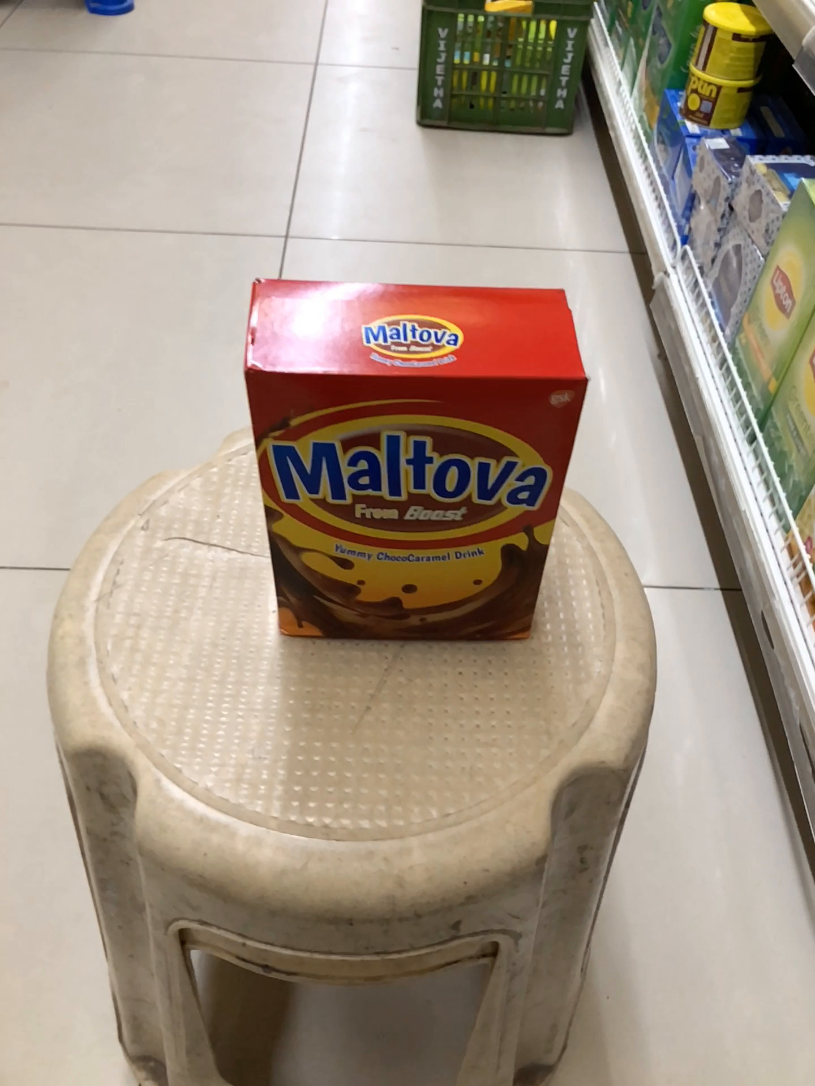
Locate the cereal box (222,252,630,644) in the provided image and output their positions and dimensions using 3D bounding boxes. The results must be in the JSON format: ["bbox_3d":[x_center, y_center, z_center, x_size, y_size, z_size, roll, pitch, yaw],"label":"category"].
[{"bbox_3d":[0.003,-0.034,0.420,0.150,0.179,0.070,1,49,-3],"label":"cereal box"}]
